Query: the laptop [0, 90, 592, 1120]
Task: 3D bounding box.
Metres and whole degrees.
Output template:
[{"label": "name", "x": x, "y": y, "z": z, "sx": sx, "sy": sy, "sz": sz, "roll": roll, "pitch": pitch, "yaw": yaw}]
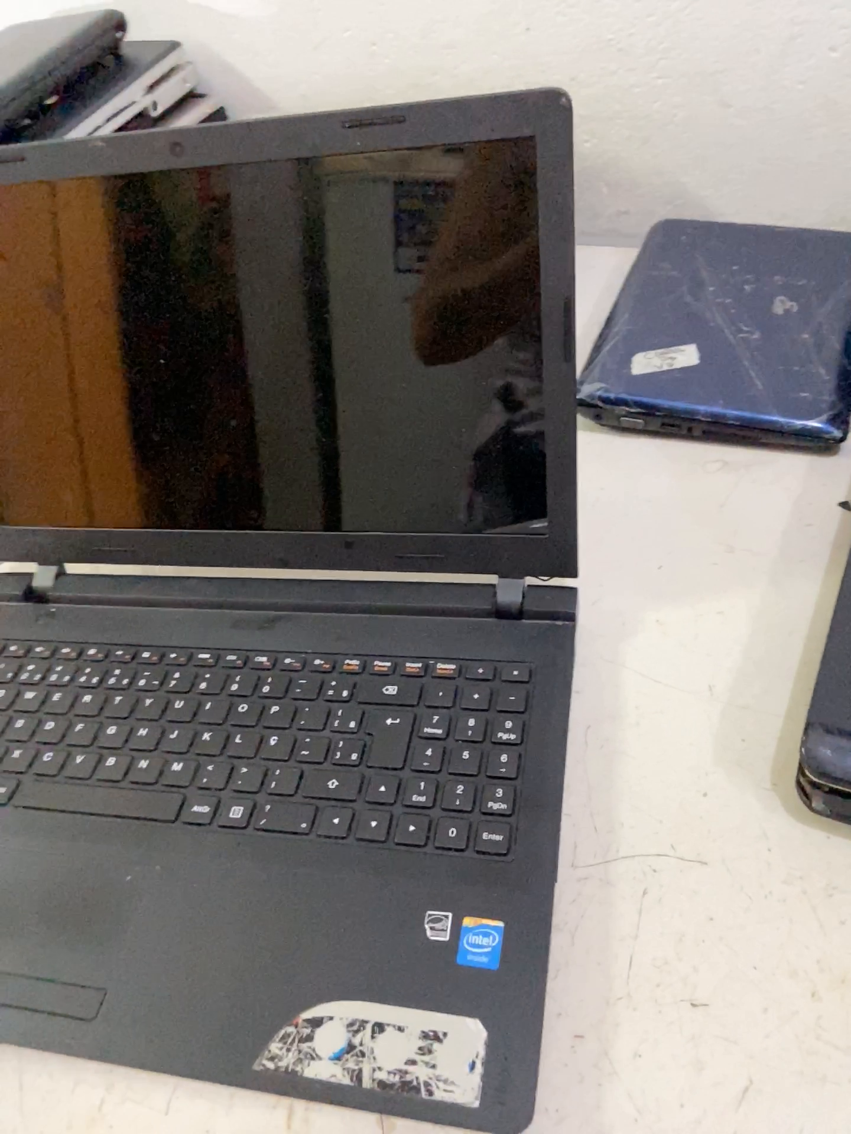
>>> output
[{"label": "laptop", "x": -0.131, "y": -0.006, "z": 0.391, "sx": 0.375, "sy": 0.230, "sz": 0.339, "roll": 1, "pitch": 46, "yaw": 14}]
